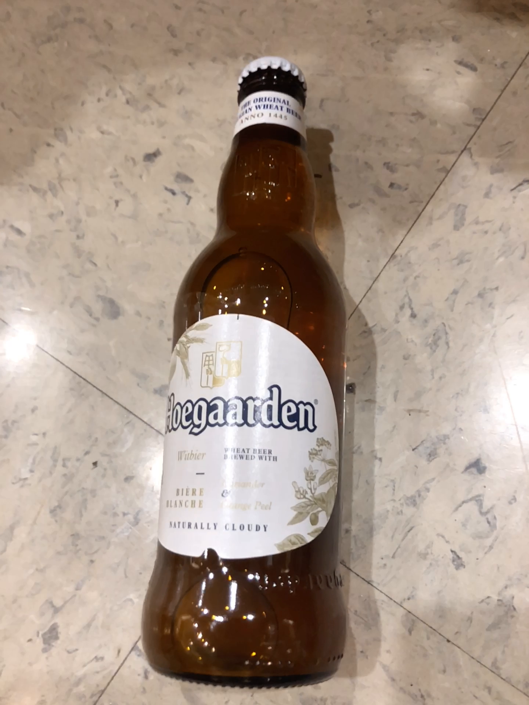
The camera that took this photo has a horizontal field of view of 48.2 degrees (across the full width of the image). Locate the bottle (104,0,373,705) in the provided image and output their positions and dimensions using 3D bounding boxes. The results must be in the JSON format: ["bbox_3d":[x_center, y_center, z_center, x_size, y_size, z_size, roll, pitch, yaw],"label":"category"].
[{"bbox_3d":[-0.001,-0.014,0.210,0.070,0.050,0.230,-1,72,9],"label":"bottle"}]
